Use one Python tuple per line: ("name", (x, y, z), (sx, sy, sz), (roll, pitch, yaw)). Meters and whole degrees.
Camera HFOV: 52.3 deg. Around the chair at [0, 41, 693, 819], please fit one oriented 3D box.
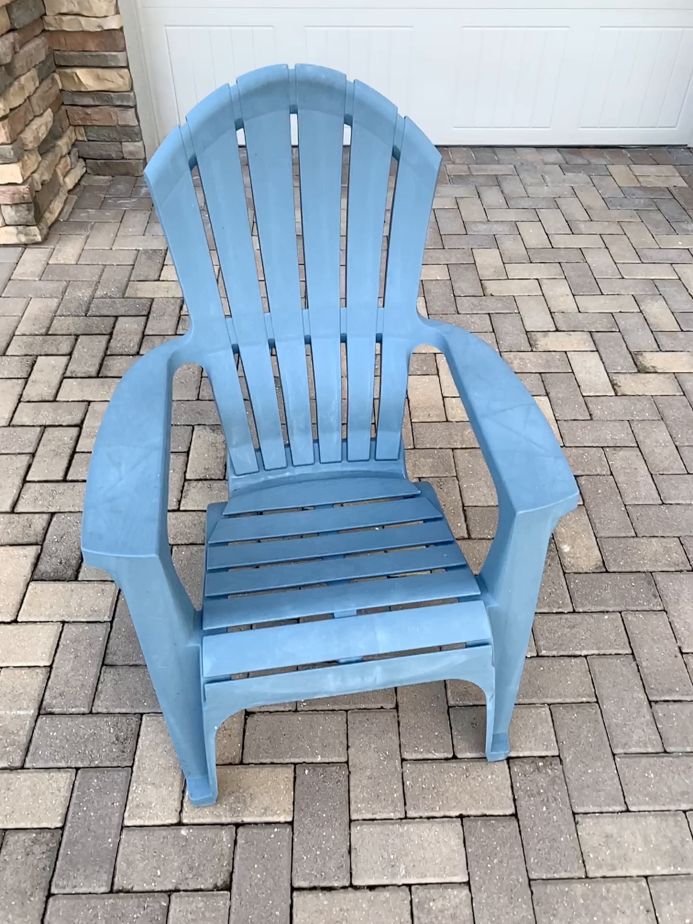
("chair", (-0.035, -0.053, 1.203), (0.681, 0.984, 0.802), (-5, 43, -6))
